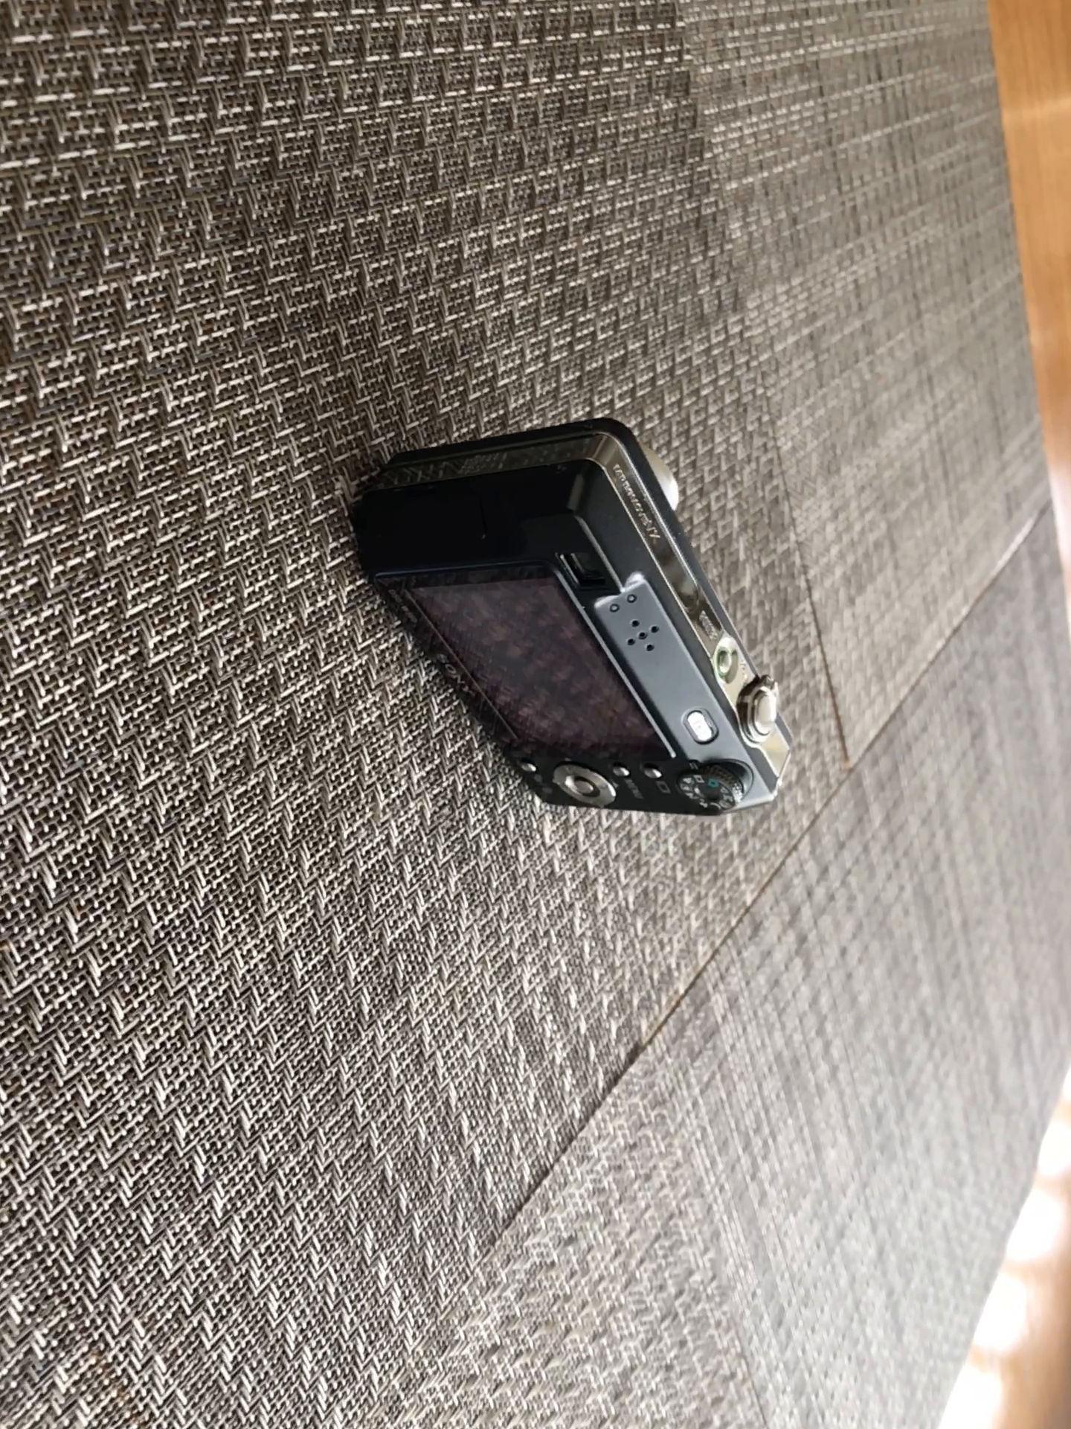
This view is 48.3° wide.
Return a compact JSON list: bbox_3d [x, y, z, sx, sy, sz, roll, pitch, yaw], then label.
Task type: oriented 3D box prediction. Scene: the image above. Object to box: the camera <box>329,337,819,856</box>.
[{"bbox_3d":[0.013,-0.020,0.252,0.095,0.052,0.049,55,50,-37],"label":"camera"}]
